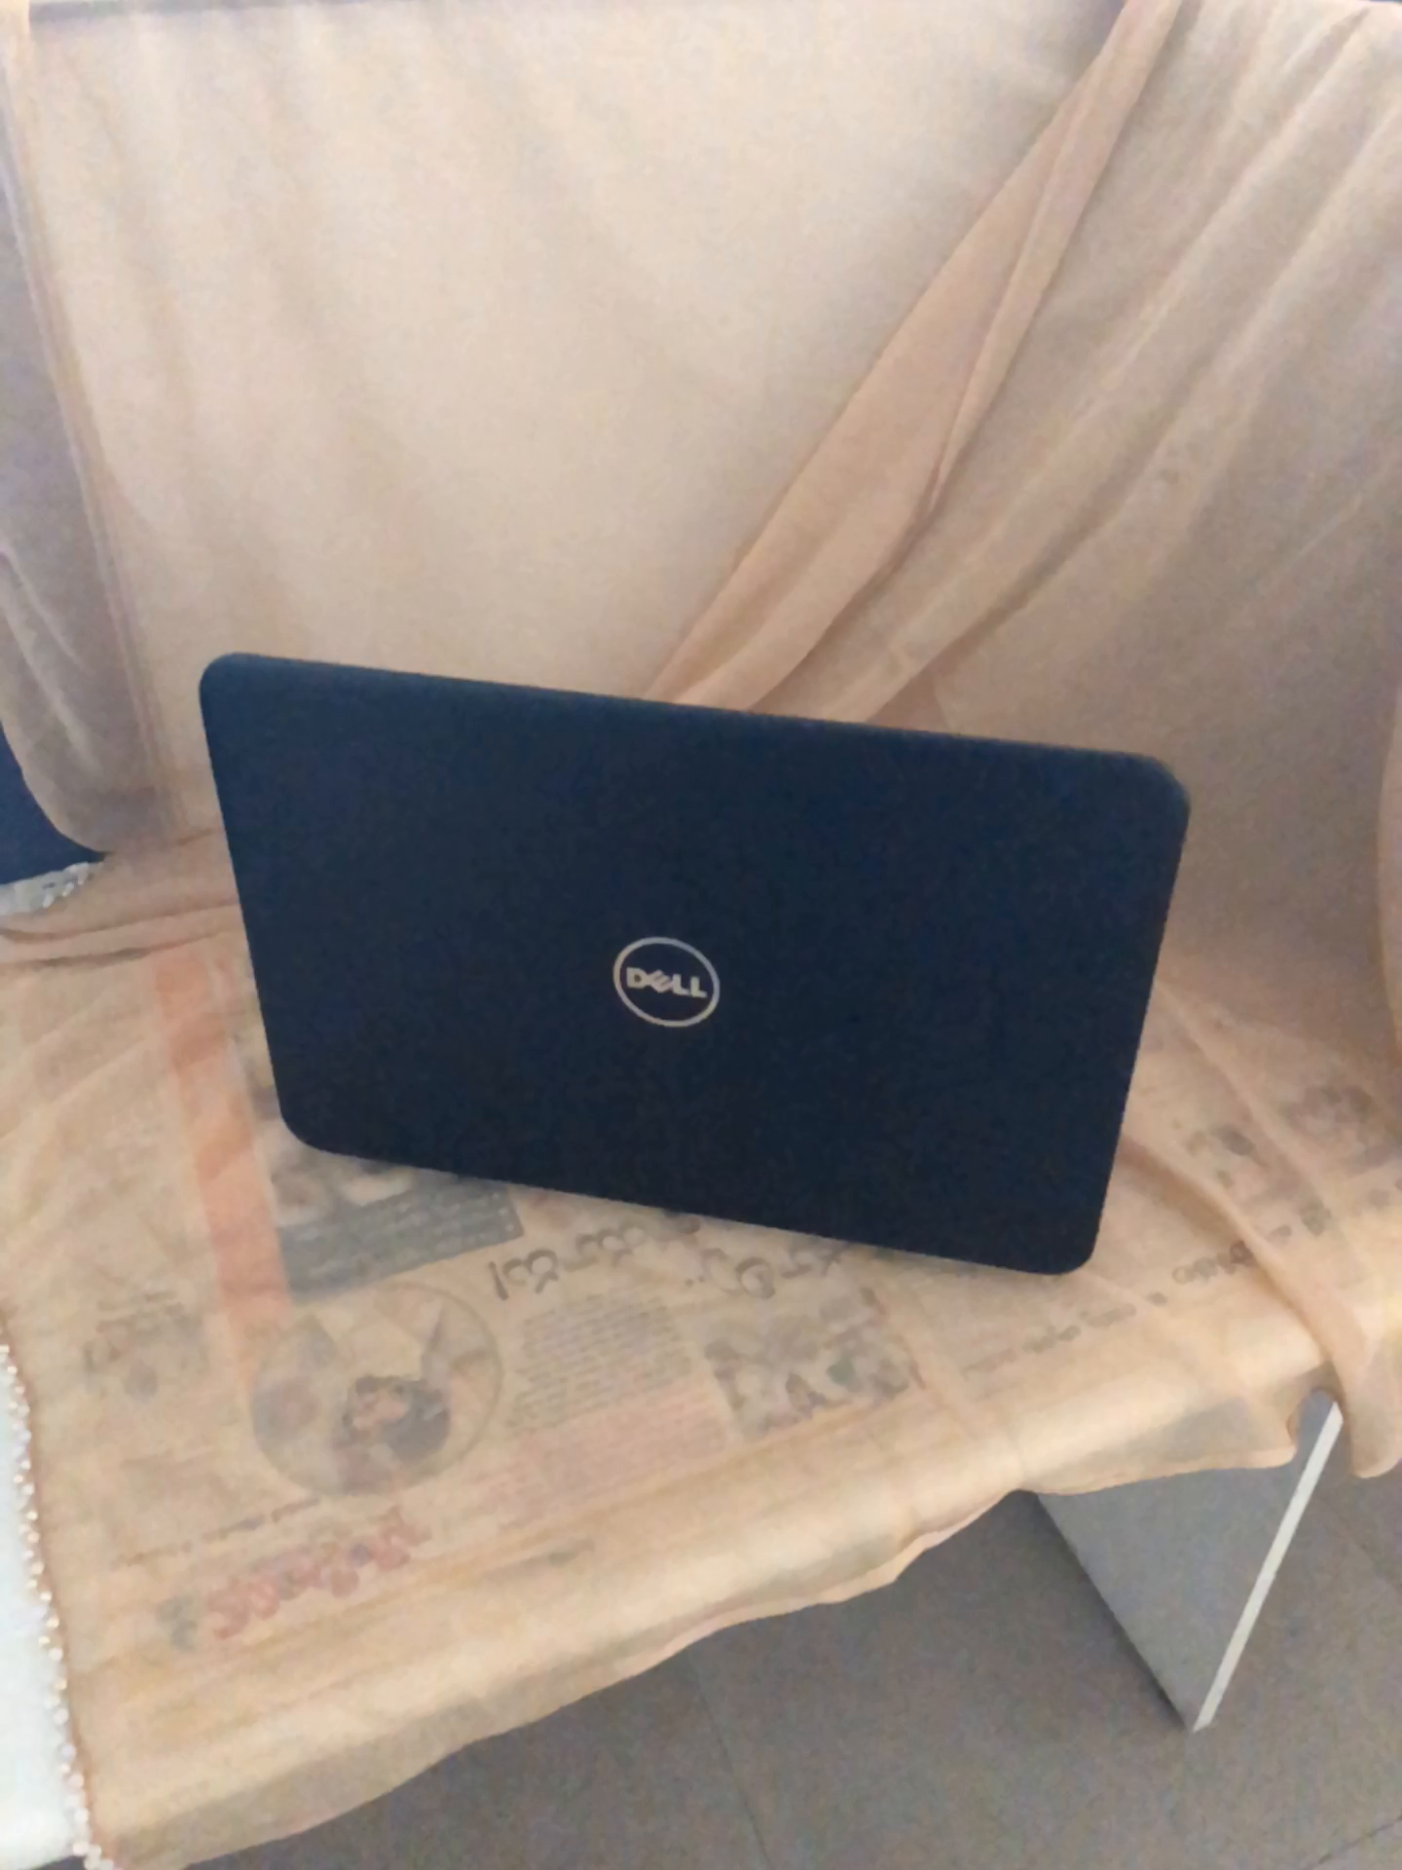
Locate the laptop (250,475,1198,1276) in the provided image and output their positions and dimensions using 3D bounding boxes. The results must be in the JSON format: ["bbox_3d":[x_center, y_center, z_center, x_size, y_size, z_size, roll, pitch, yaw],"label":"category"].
[{"bbox_3d":[0.021,-0.044,0.703,0.332,0.237,0.258,7,36,10],"label":"laptop"}]
